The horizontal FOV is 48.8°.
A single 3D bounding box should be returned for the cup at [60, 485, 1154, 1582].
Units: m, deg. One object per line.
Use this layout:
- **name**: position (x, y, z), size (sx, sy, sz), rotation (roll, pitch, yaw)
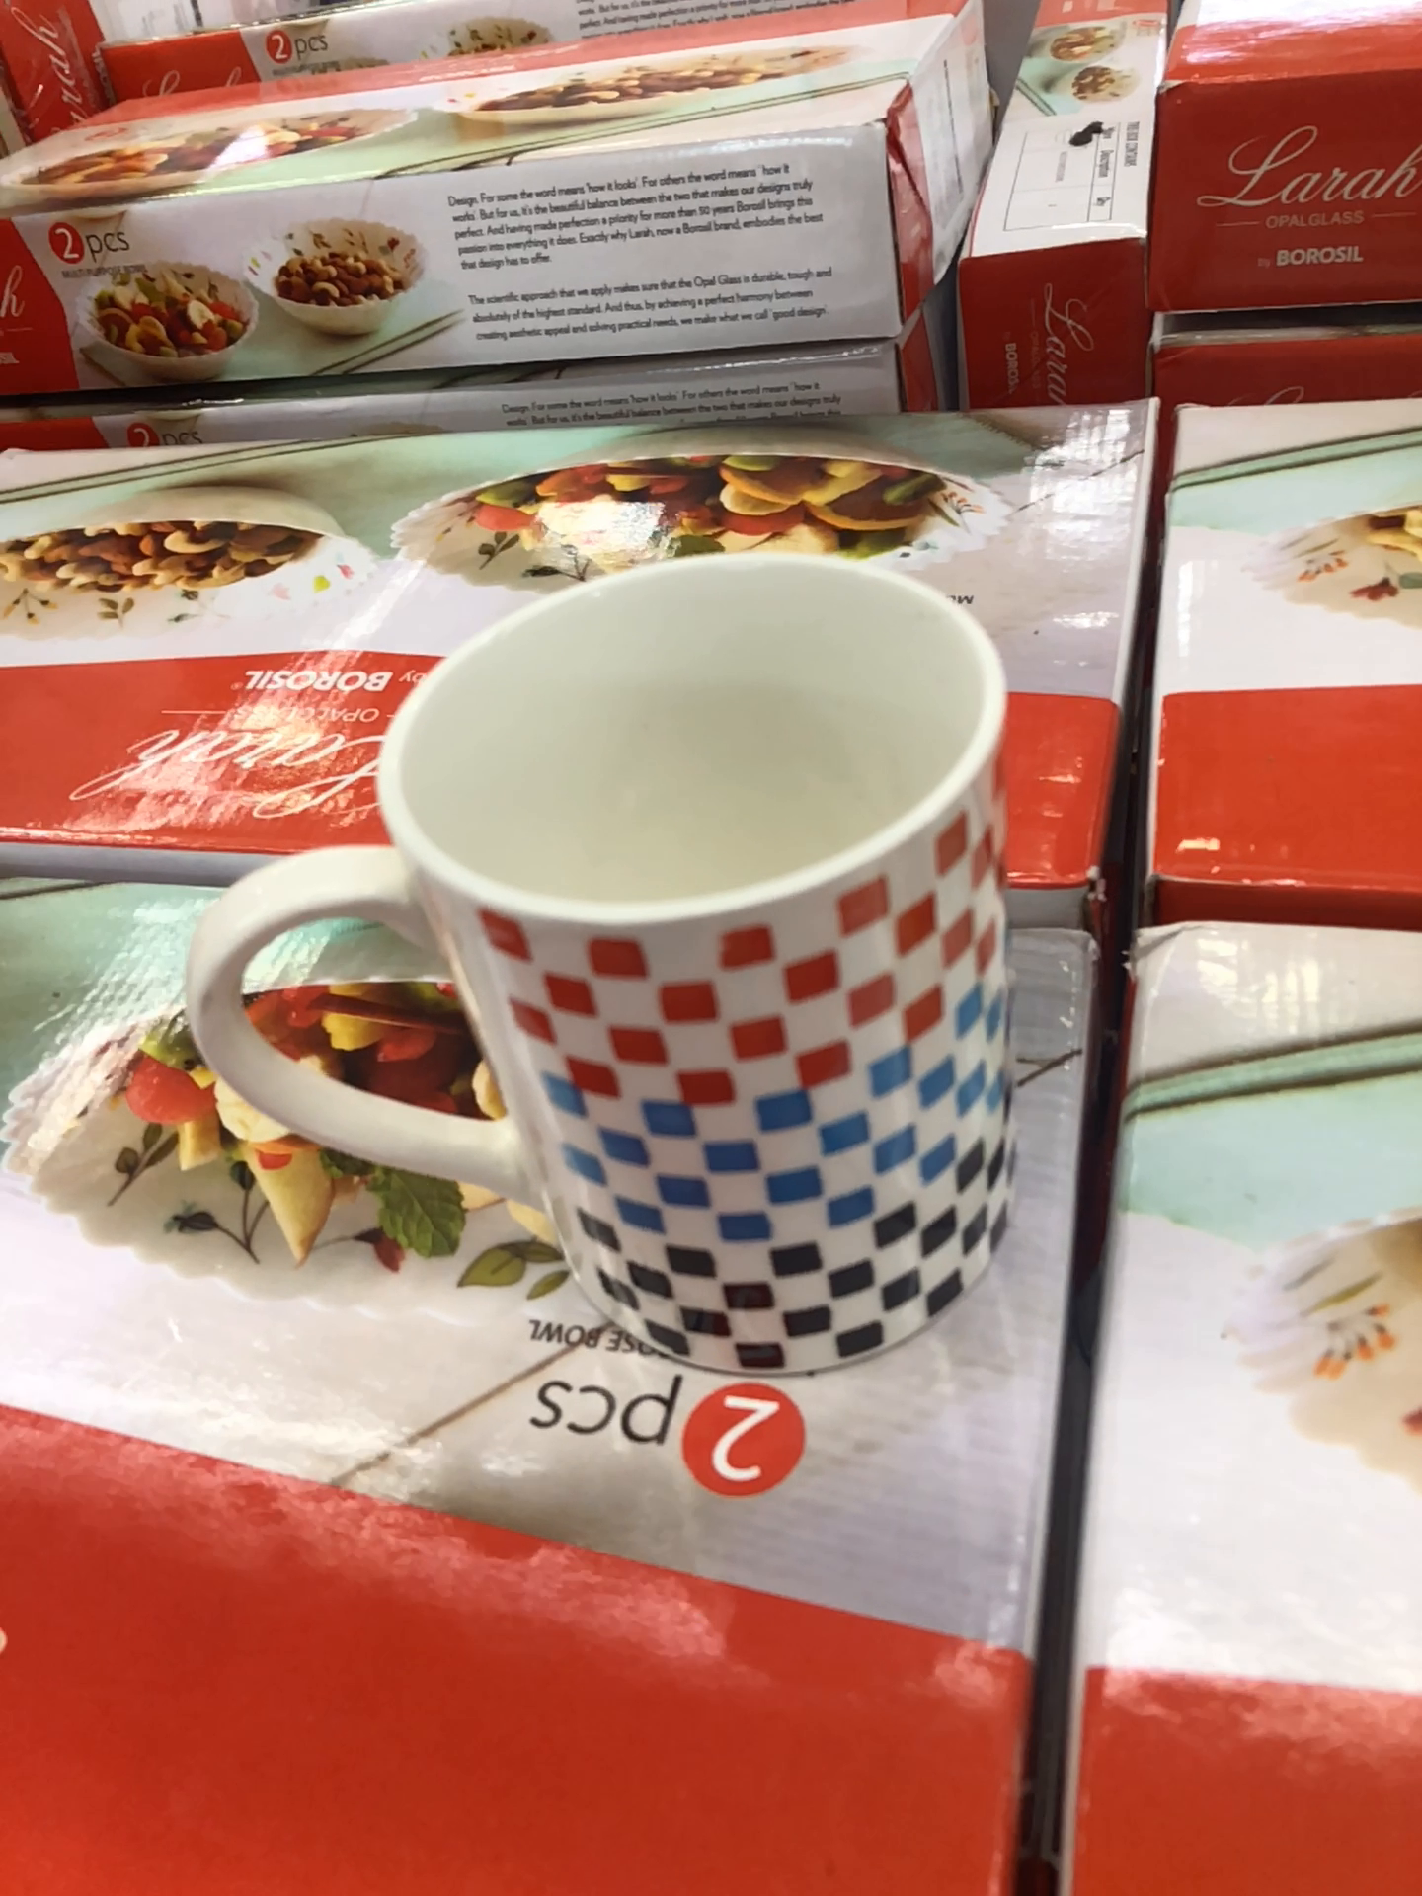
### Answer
- **cup**: position (-0.015, 0.008, 0.226), size (0.120, 0.089, 0.091), rotation (-18, 41, -8)
